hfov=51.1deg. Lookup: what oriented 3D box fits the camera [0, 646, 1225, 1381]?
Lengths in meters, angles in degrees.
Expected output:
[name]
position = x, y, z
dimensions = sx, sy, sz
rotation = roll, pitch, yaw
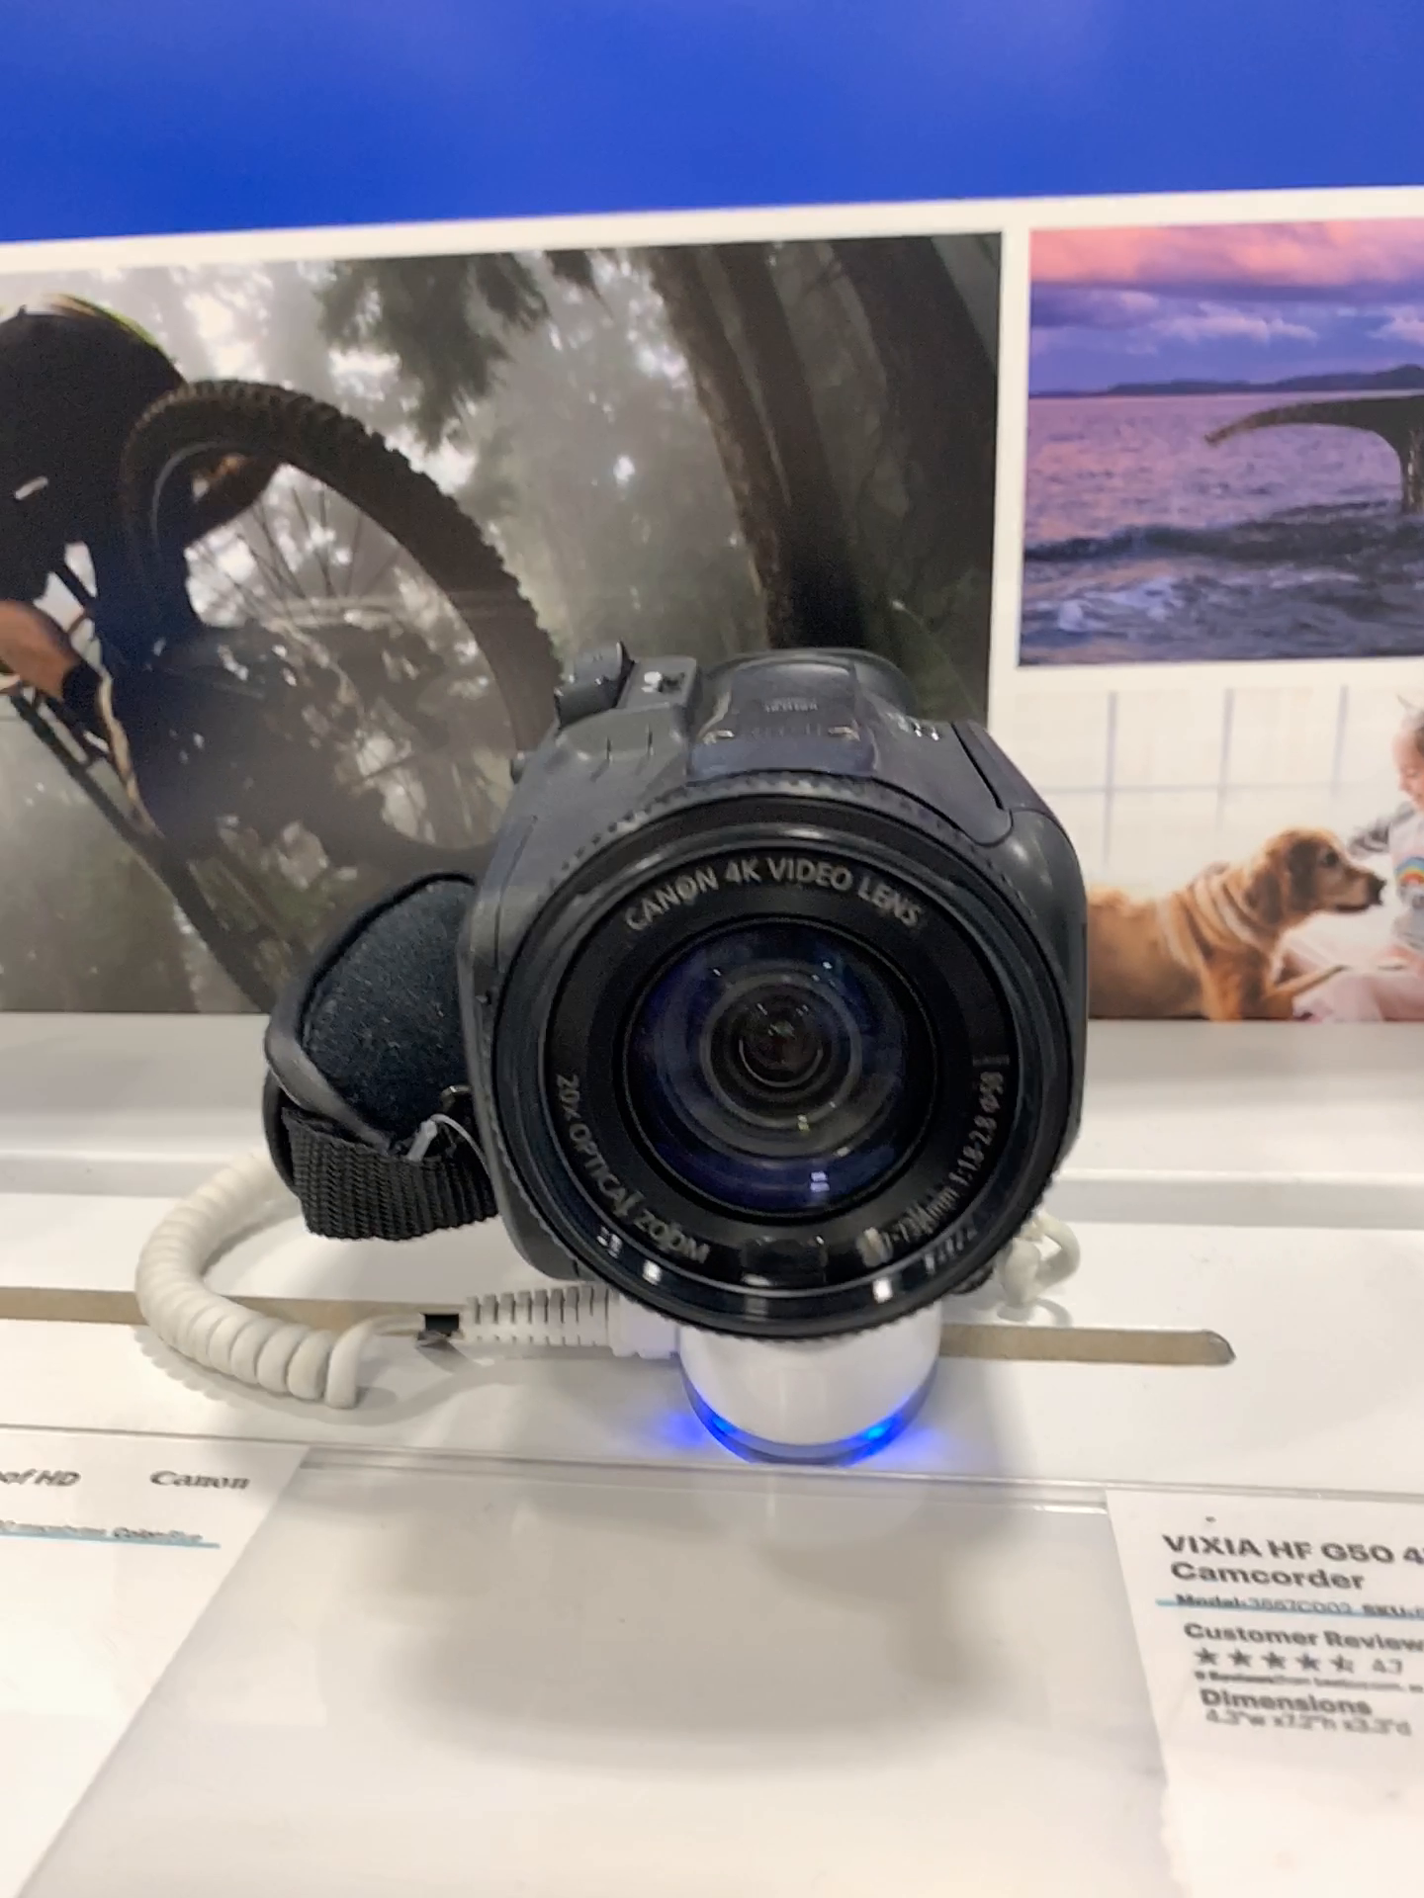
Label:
[camera]
position = -0.008, -0.012, 0.257
dimensions = 0.131, 0.069, 0.201
rotation = 1, 14, 4
